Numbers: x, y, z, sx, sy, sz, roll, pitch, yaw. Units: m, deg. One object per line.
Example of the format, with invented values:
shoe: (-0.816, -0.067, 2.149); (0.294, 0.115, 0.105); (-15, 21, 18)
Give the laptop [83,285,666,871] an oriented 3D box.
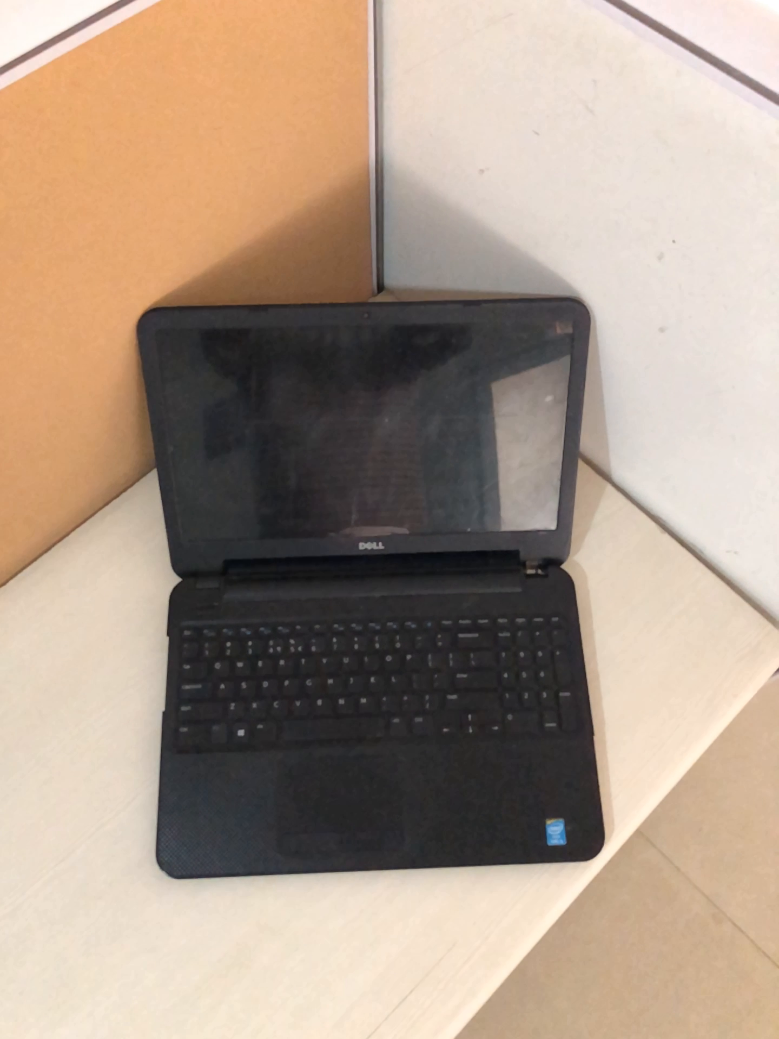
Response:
laptop: (-0.016, 0.046, 0.674); (0.352, 0.175, 0.414); (-1, 68, -1)
